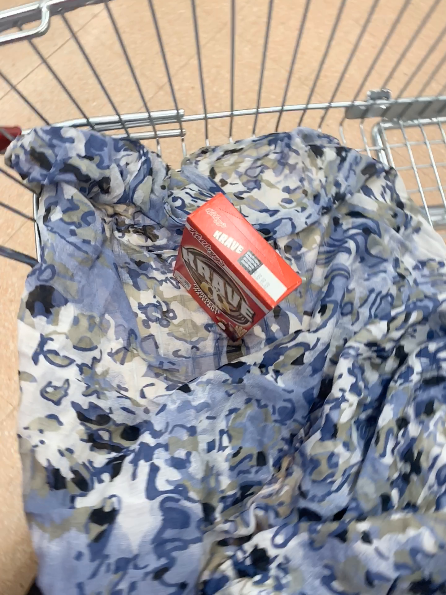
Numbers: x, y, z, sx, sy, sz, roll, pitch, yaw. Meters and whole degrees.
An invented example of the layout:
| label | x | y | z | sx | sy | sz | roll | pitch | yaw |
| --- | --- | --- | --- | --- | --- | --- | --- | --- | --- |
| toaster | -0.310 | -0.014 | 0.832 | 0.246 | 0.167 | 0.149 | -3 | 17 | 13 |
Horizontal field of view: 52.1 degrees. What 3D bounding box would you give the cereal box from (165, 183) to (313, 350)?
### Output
| label | x | y | z | sx | sy | sz | roll | pitch | yaw |
| --- | --- | --- | --- | --- | --- | --- | --- | --- | --- |
| cereal box | 0.003 | -0.015 | 0.380 | 0.040 | 0.150 | 0.090 | -41 | 86 | -19 |
